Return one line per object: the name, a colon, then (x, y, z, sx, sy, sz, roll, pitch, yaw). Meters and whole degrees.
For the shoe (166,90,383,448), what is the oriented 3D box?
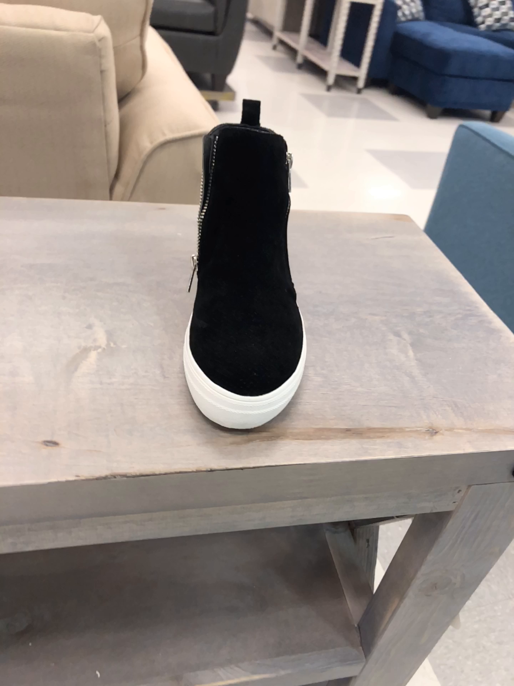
shoe: (-0.002, -0.080, 0.451, 0.106, 0.146, 0.292, 5, 37, -6)
